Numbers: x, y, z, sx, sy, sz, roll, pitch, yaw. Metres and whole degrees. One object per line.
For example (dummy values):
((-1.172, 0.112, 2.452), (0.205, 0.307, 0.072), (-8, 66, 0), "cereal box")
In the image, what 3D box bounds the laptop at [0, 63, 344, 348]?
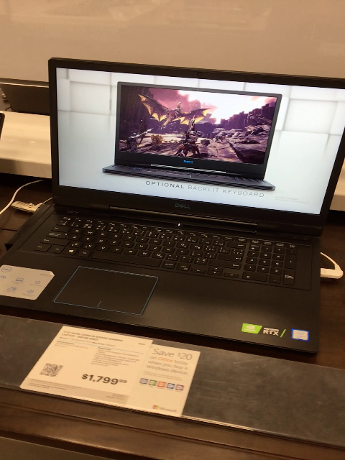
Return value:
((-0.006, -0.054, 0.584), (0.434, 0.227, 0.296), (8, 38, 9), "laptop")
